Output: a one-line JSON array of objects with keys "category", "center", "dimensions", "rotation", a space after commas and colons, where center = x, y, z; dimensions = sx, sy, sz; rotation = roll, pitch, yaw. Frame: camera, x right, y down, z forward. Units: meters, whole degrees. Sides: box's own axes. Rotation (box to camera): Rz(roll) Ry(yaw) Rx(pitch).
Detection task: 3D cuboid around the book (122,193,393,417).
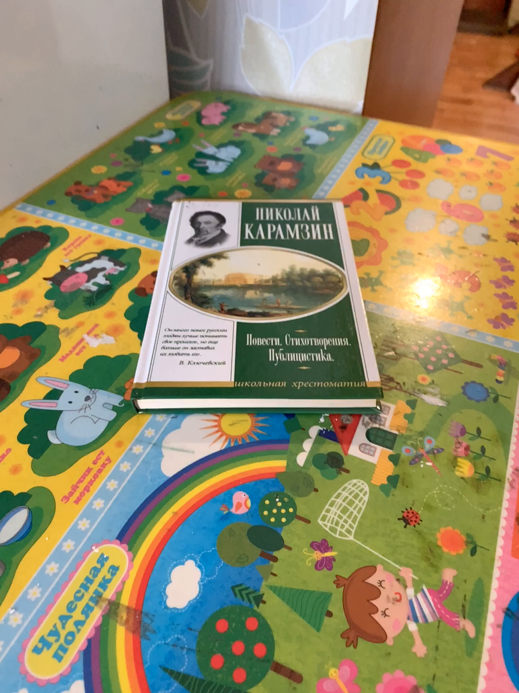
[{"category": "book", "center": [-0.001, -0.040, 0.347], "dimensions": [0.136, 0.020, 0.198], "rotation": [0, 45, 0]}]
